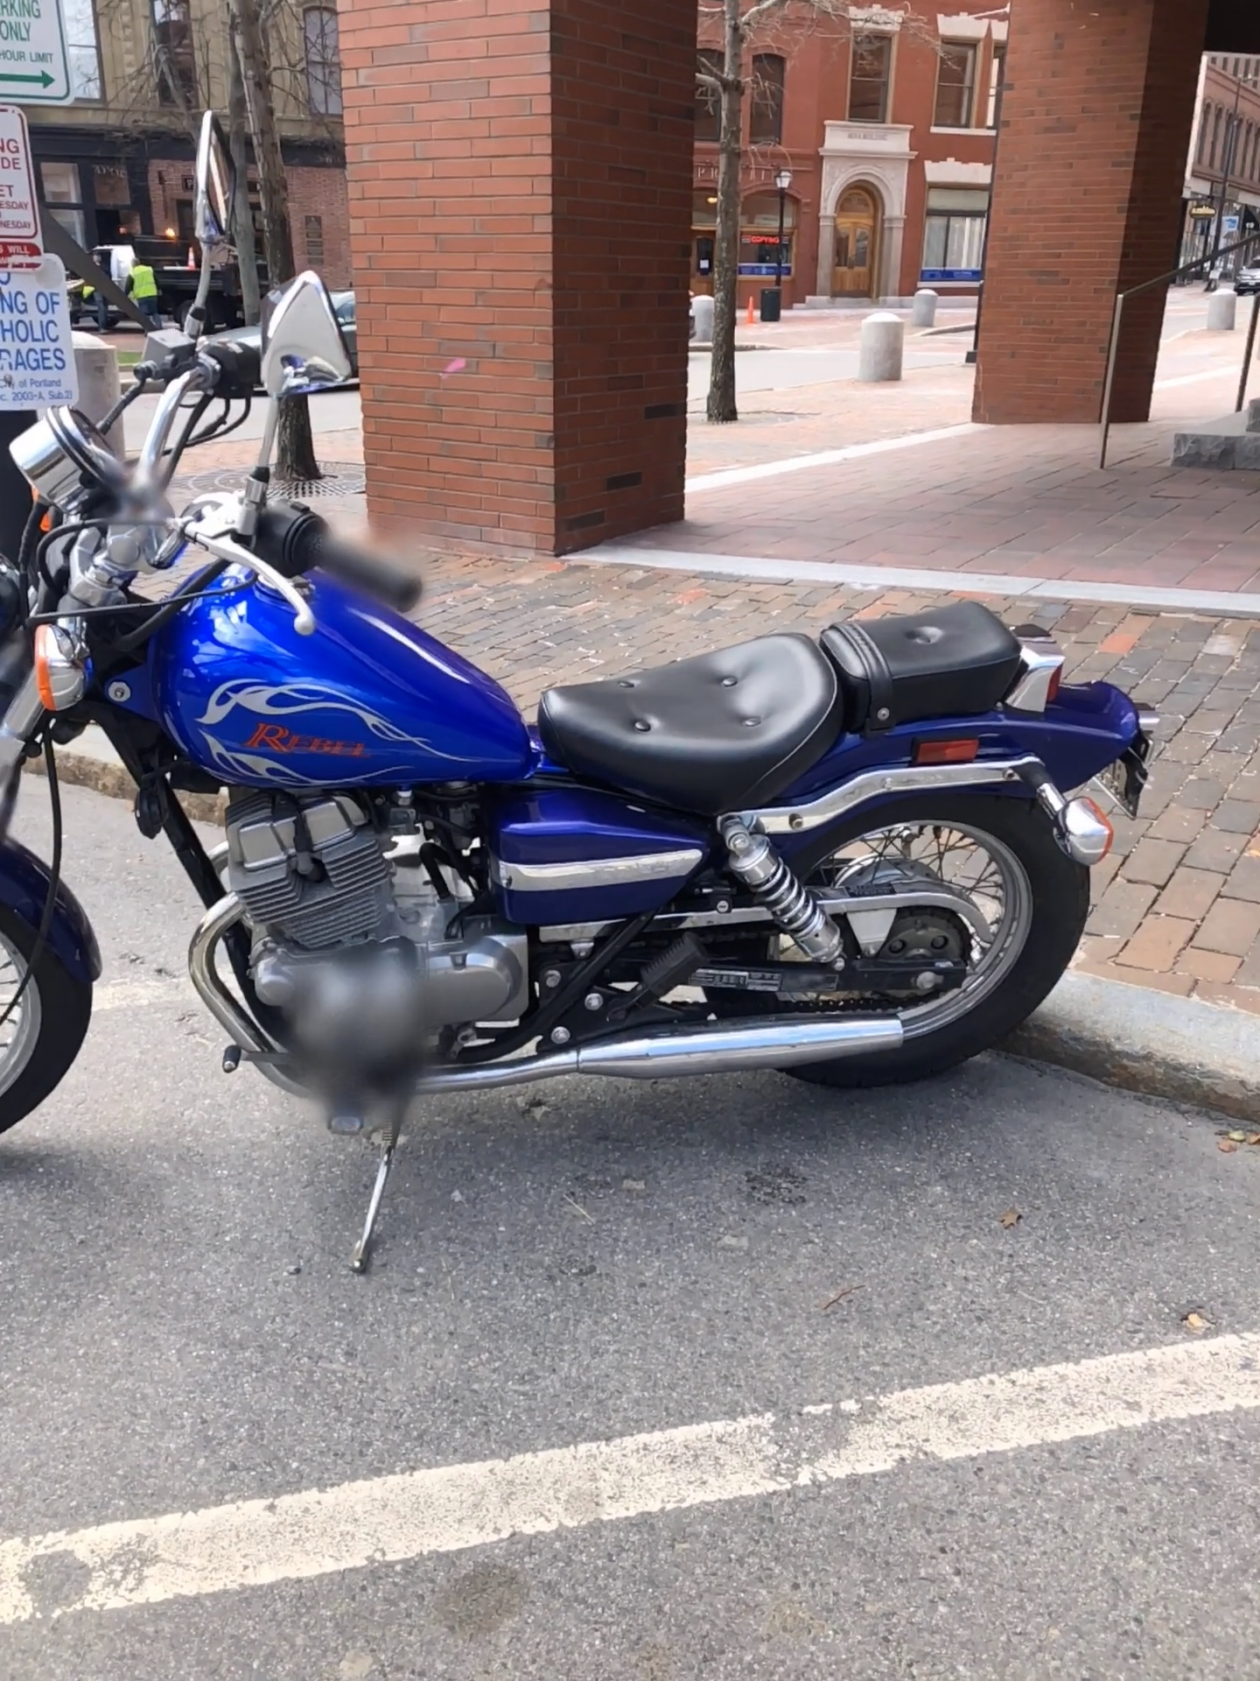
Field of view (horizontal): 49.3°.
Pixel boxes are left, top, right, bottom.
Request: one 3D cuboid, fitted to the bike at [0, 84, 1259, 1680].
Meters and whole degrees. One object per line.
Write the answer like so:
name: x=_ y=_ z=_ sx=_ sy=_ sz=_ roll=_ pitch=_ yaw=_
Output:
bike: x=-0.190 y=-0.002 z=1.600 sx=2.026 sy=1.180 sz=0.929 roll=-3 pitch=22 yaw=-19
